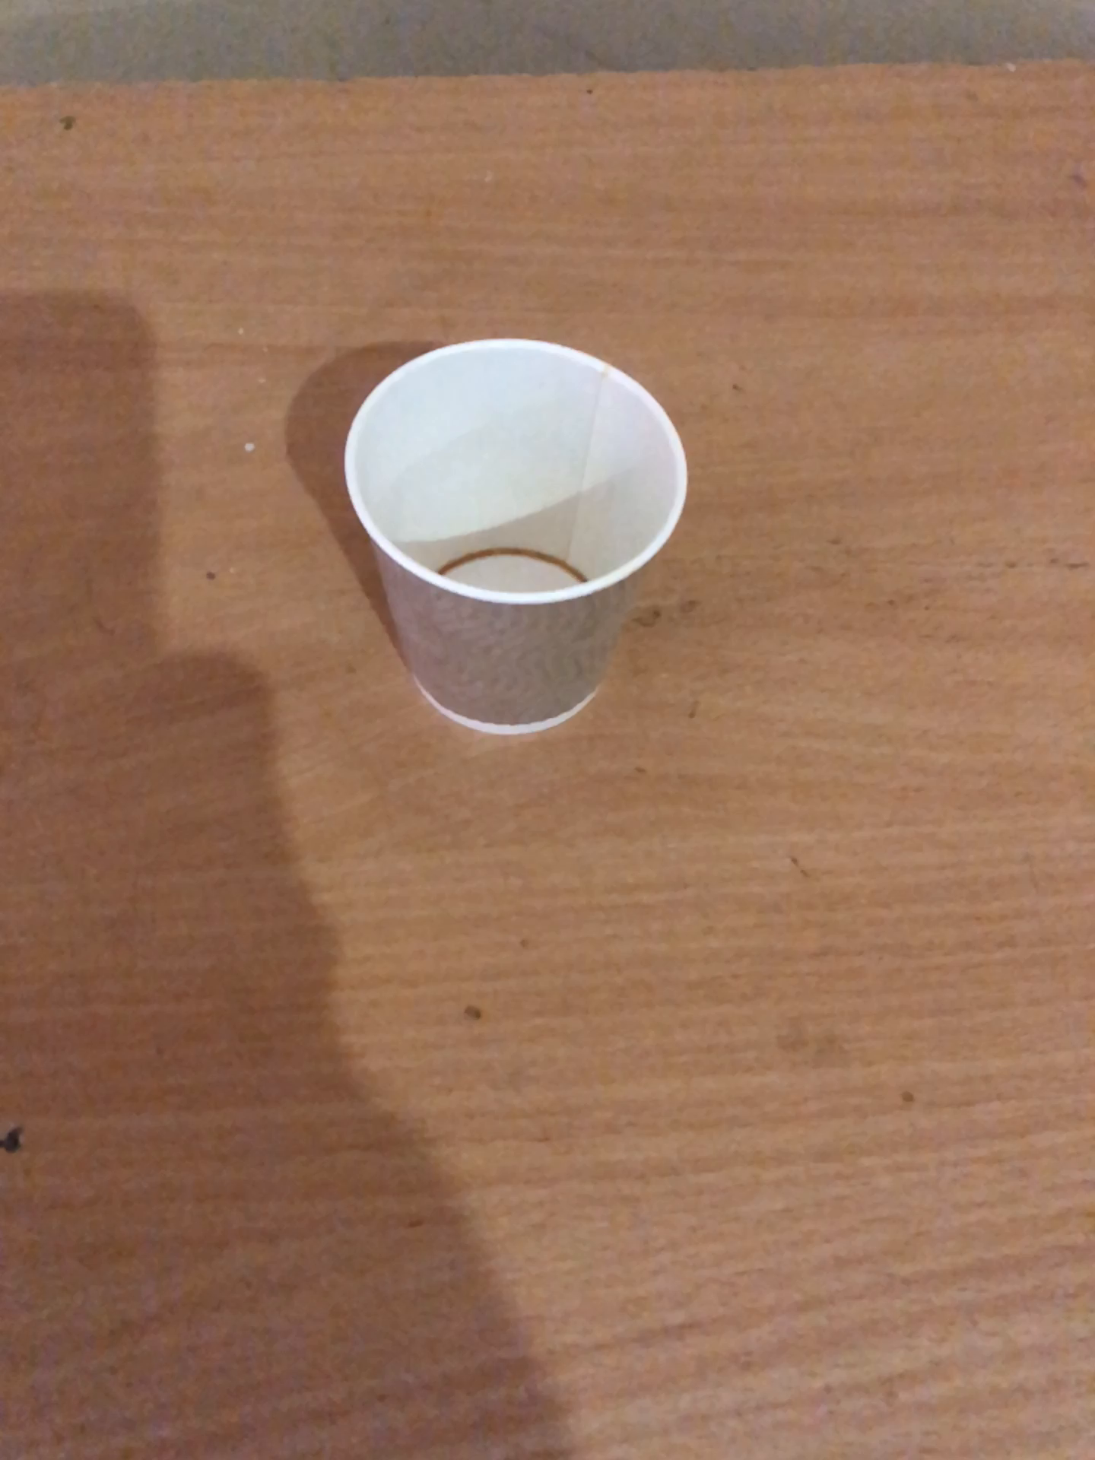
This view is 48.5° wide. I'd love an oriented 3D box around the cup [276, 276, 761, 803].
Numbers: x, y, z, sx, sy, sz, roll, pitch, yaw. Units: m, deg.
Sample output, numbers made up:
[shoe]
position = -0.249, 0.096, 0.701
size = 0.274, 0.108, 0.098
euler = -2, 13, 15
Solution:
[cup]
position = -0.007, -0.042, 0.277
size = 0.067, 0.064, 0.074
euler = -36, 69, -18
